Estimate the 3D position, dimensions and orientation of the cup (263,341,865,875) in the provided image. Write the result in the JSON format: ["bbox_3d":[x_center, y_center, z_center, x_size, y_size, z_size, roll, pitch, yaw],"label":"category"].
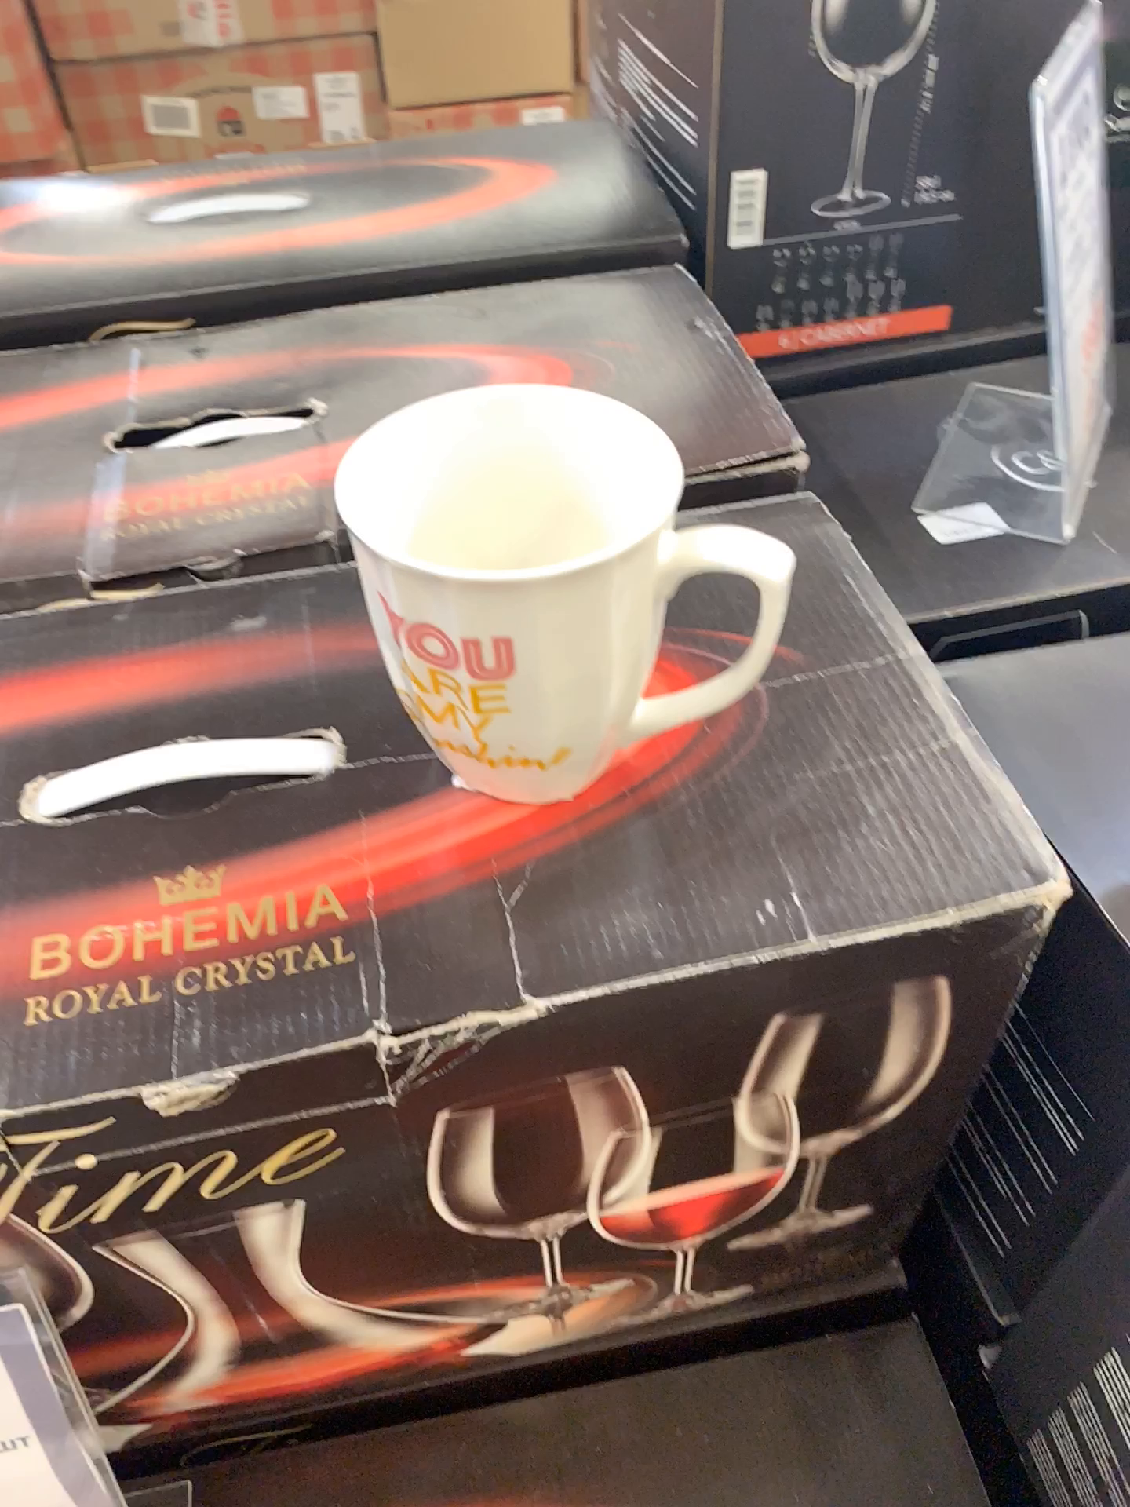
[{"bbox_3d":[0.004,-0.042,0.306,0.120,0.080,0.090,14,48,15],"label":"cup"}]
